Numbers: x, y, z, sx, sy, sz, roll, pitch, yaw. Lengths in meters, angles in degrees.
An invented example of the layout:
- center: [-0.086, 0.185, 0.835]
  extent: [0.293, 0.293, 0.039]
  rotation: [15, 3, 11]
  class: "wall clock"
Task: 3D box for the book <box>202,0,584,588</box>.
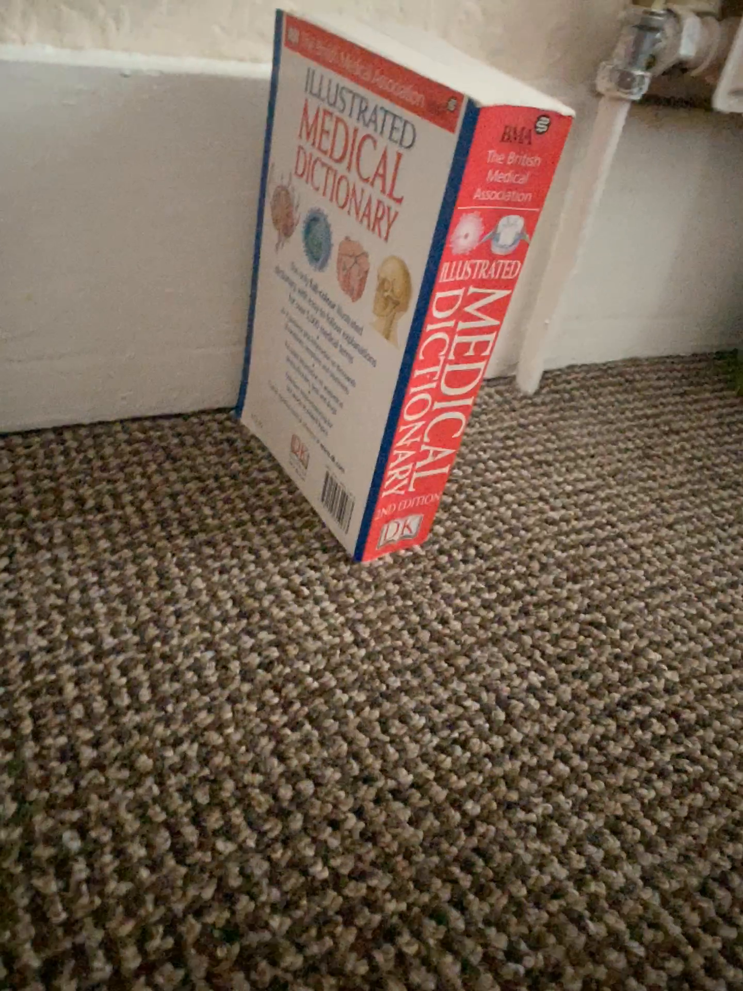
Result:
- center: [-0.017, -0.099, 0.357]
  extent: [0.060, 0.198, 0.191]
  rotation: [-11, 42, -27]
  class: "book"
